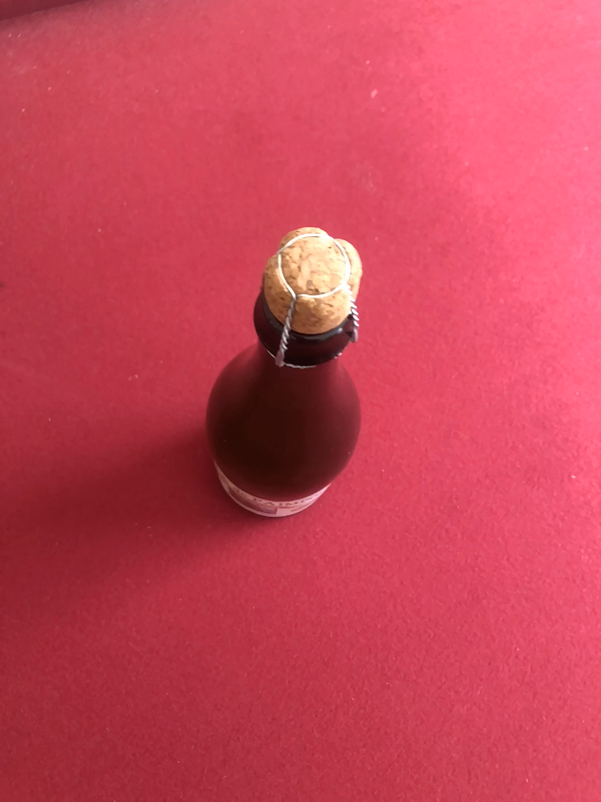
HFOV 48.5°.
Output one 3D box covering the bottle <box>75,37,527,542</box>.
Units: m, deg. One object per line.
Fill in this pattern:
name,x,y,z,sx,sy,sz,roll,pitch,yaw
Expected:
bottle,-0.007,-0.004,0.318,0.090,0.299,0.100,20,75,1
